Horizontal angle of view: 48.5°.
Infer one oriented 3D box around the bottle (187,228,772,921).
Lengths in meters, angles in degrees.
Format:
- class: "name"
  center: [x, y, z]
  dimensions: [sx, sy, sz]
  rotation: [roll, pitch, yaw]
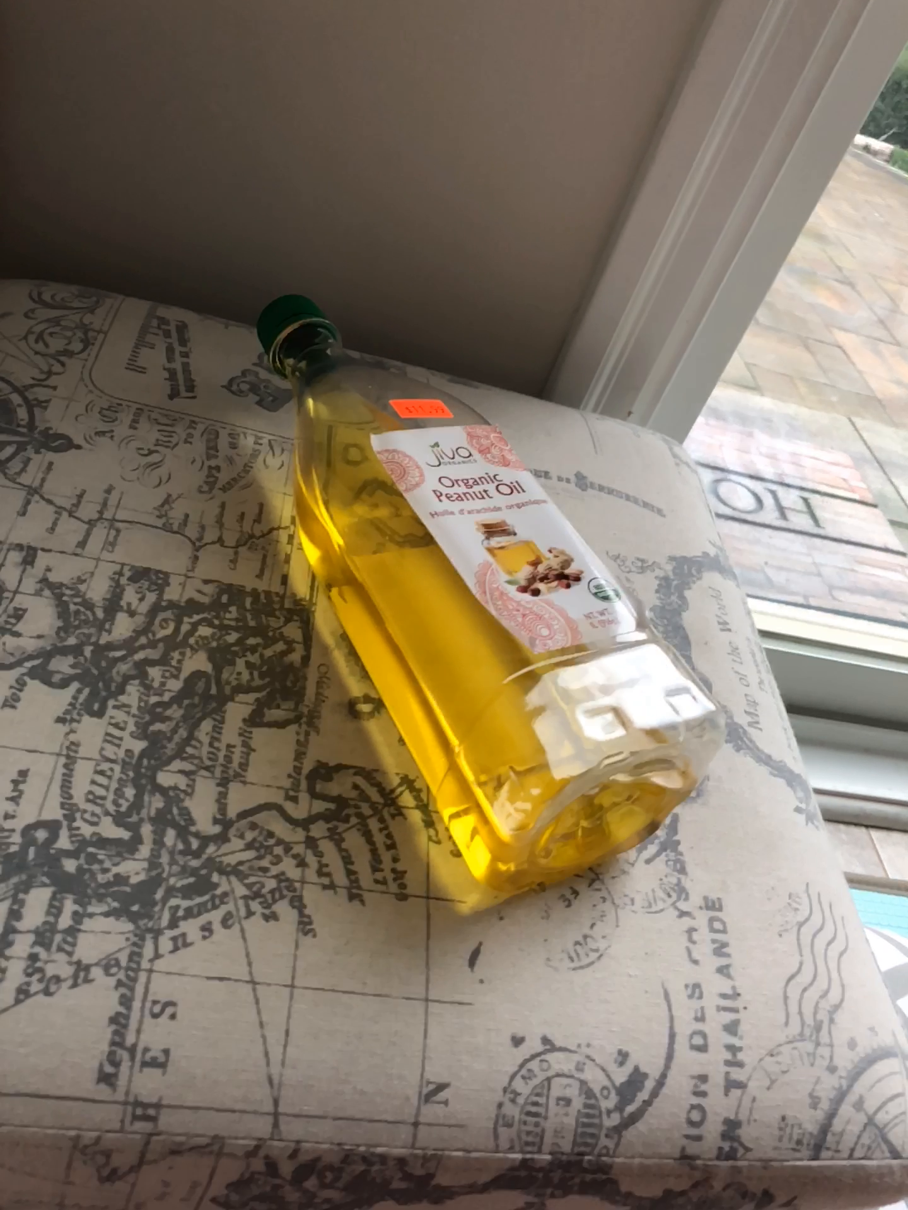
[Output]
- class: "bottle"
  center: [-0.011, -0.032, 0.371]
  dimensions: [0.080, 0.070, 0.270]
  rotation: [-9, 52, -33]
